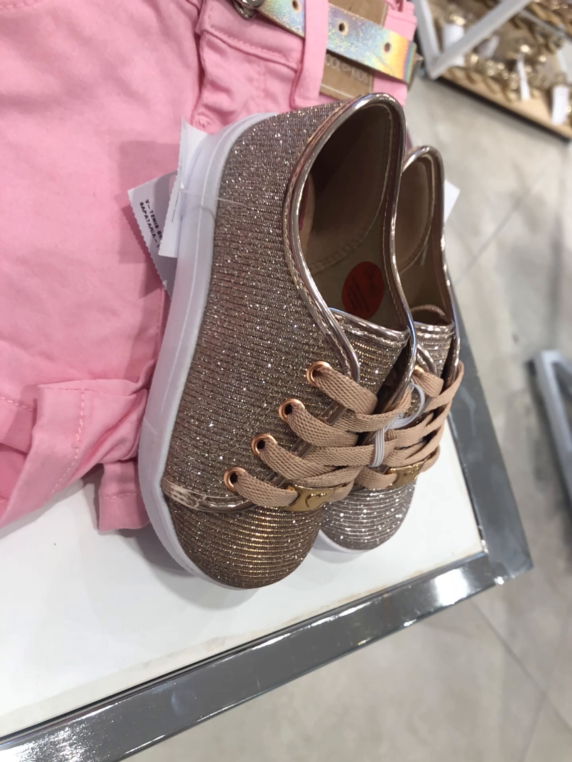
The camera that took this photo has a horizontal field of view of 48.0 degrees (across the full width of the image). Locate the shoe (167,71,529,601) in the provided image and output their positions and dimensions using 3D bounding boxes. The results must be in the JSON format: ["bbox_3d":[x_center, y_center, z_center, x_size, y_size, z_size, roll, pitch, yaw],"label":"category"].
[{"bbox_3d":[0.025,-0.016,0.258,0.081,0.080,0.170,-14,94,-41],"label":"shoe"}]

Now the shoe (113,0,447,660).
[{"bbox_3d":[-0.006,-0.015,0.215,0.070,0.080,0.170,-1,96,-39],"label":"shoe"}]
